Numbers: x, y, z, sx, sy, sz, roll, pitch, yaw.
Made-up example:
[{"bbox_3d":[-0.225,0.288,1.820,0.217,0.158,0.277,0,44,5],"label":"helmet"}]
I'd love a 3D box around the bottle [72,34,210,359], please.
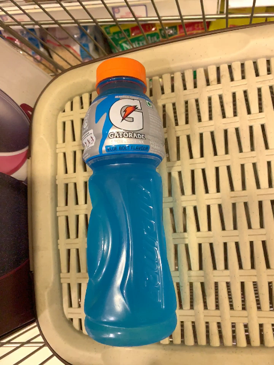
[{"bbox_3d":[-0.001,0.005,0.216,0.080,0.060,0.210,-3,84,-2],"label":"bottle"}]
